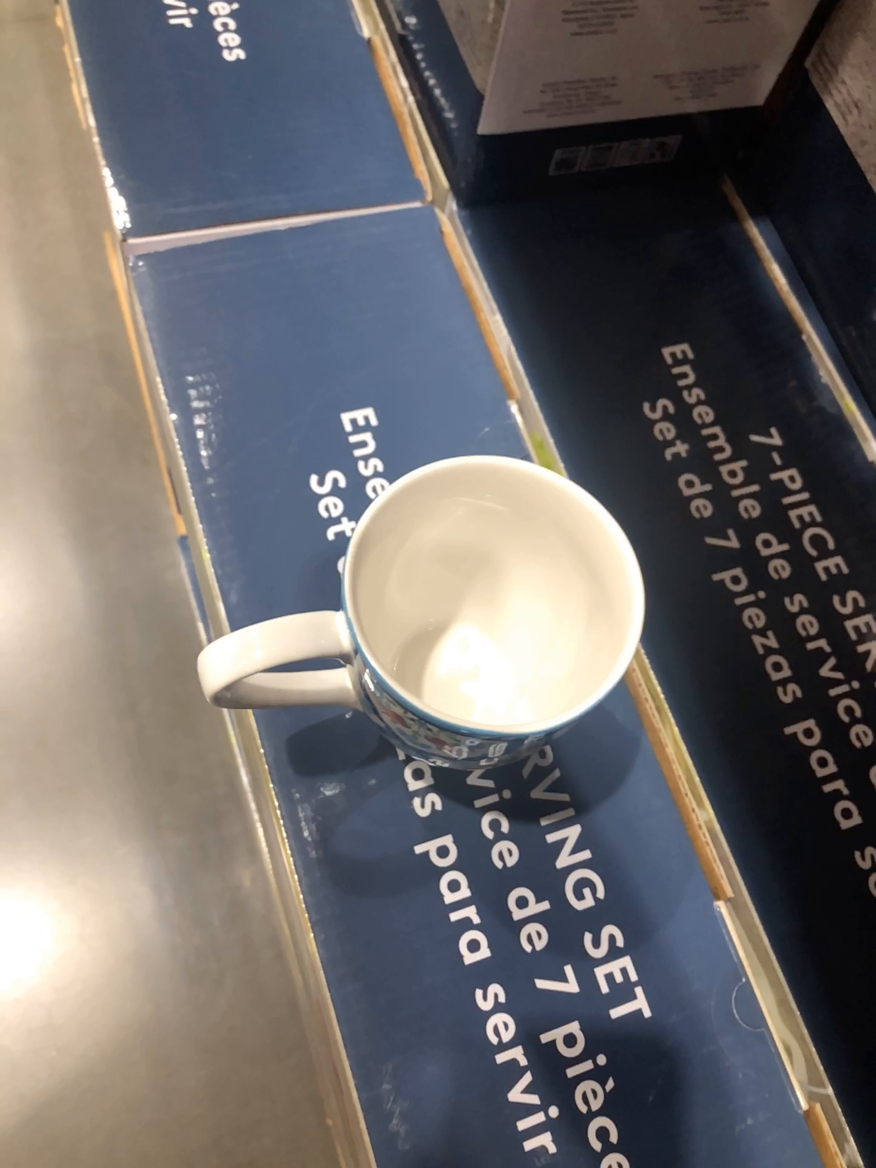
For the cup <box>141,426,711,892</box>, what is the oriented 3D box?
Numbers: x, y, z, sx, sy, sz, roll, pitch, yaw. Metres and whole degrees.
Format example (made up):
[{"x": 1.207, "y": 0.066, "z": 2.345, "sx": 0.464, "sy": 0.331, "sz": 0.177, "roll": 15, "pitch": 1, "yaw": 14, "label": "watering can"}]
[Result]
[{"x": -0.010, "y": 0.027, "z": 0.311, "sx": 0.136, "sy": 0.096, "sz": 0.089, "roll": -15, "pitch": 70, "yaw": -16, "label": "cup"}]
